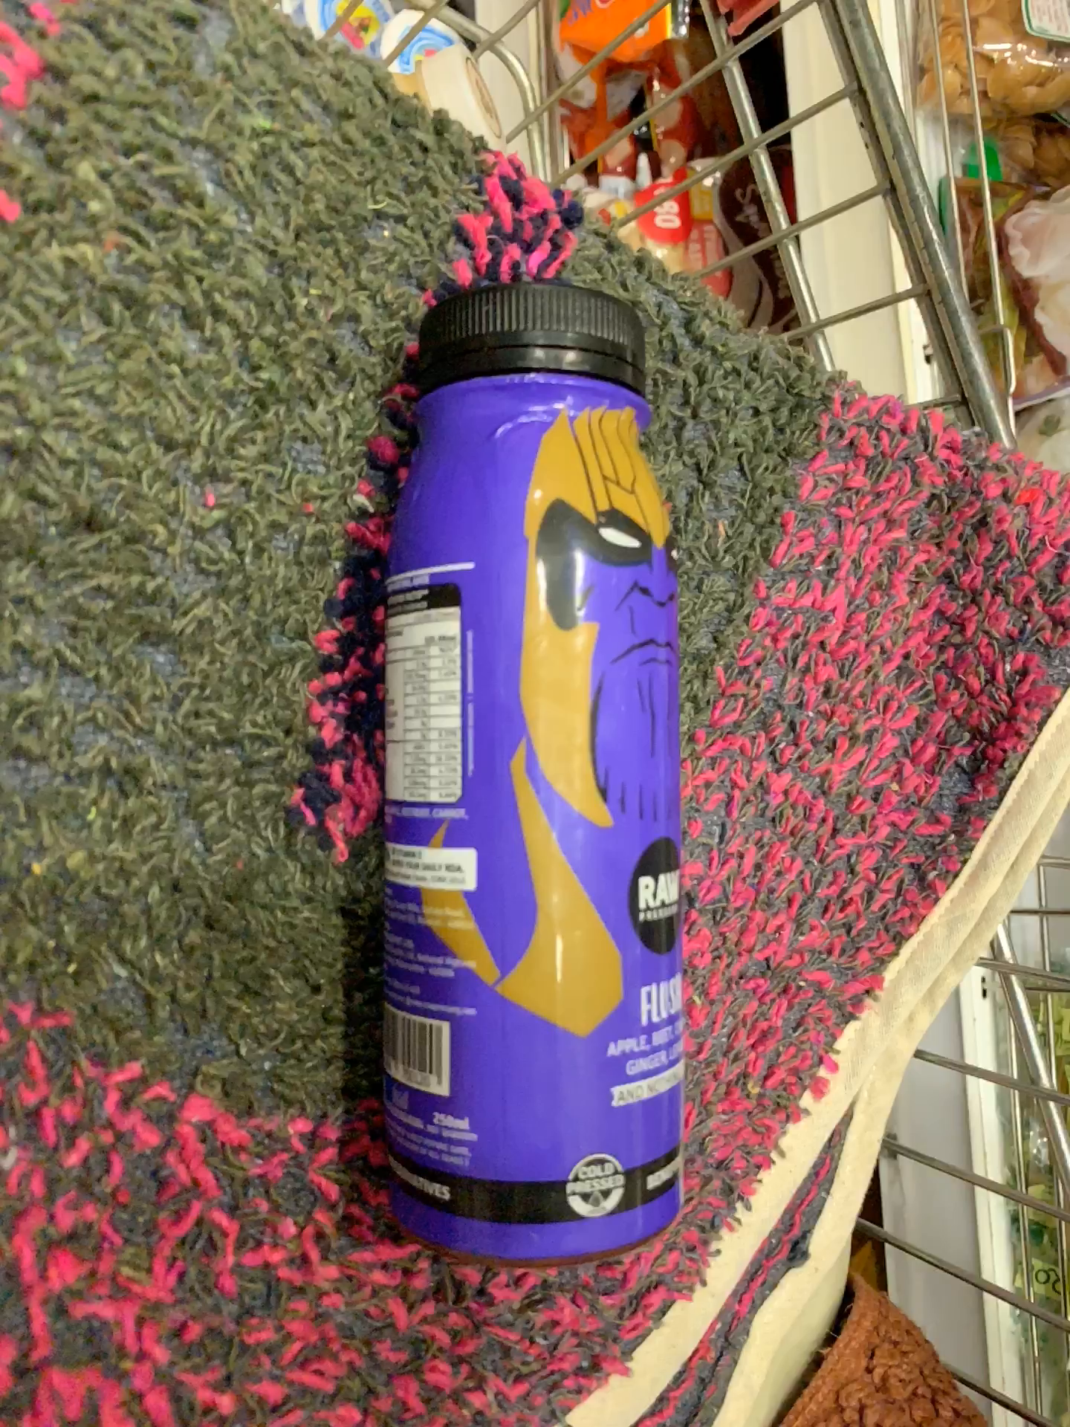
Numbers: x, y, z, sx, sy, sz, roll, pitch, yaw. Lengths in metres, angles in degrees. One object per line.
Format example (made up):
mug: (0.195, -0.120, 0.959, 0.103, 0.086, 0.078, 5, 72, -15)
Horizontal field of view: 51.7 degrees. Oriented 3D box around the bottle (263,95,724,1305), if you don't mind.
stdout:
bottle: (-0.007, -0.002, 0.194, 0.060, 0.050, 0.170, 4, 83, -50)
